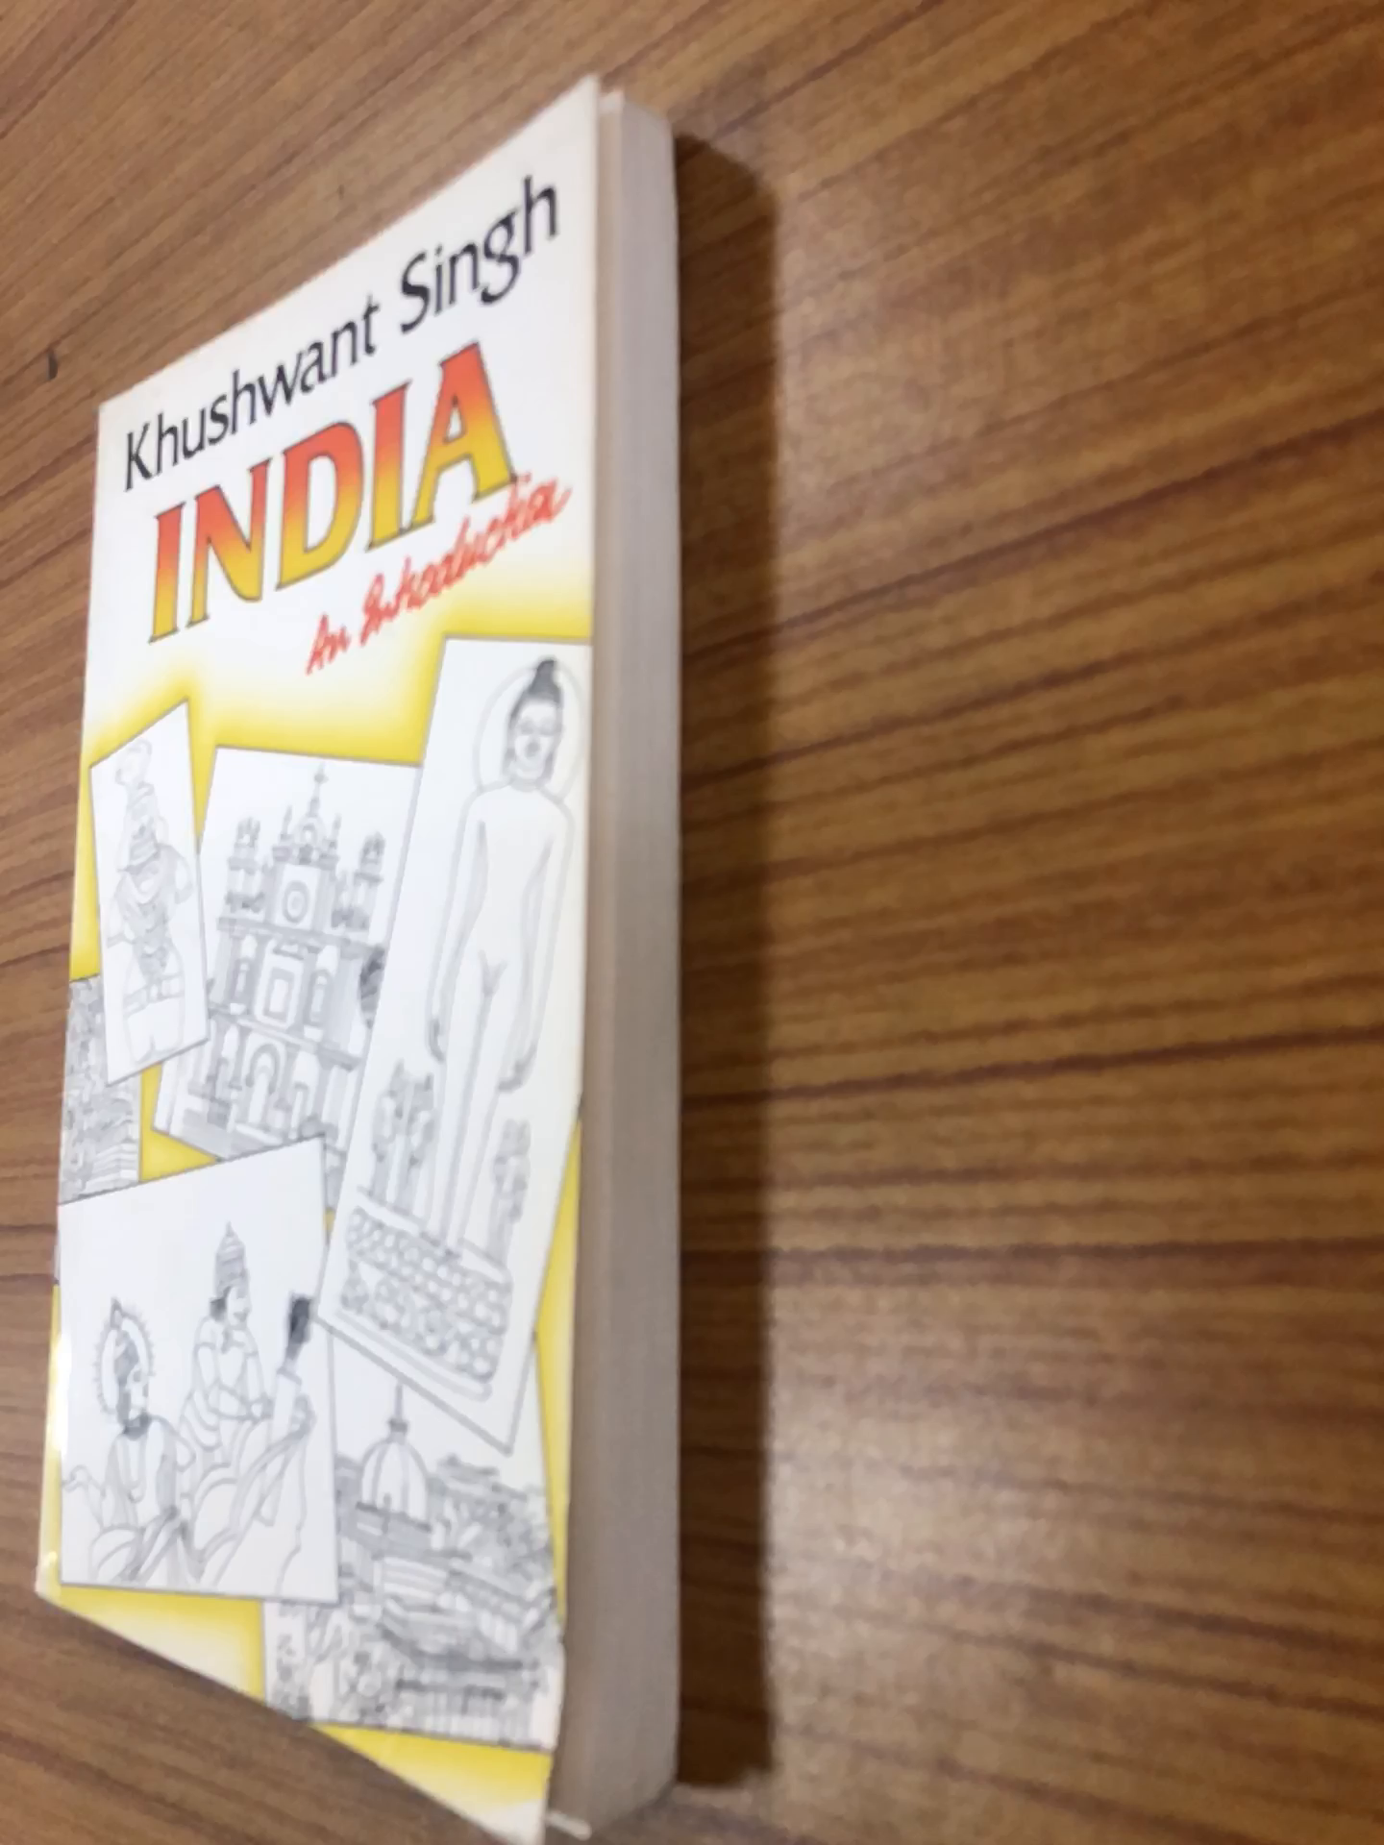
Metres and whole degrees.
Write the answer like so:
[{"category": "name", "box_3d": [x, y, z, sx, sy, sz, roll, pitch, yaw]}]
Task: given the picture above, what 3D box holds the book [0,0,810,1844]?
[{"category": "book", "box_3d": [-0.047, 0.001, 0.204, 0.141, 0.020, 0.190, -7, 79, 41]}]
